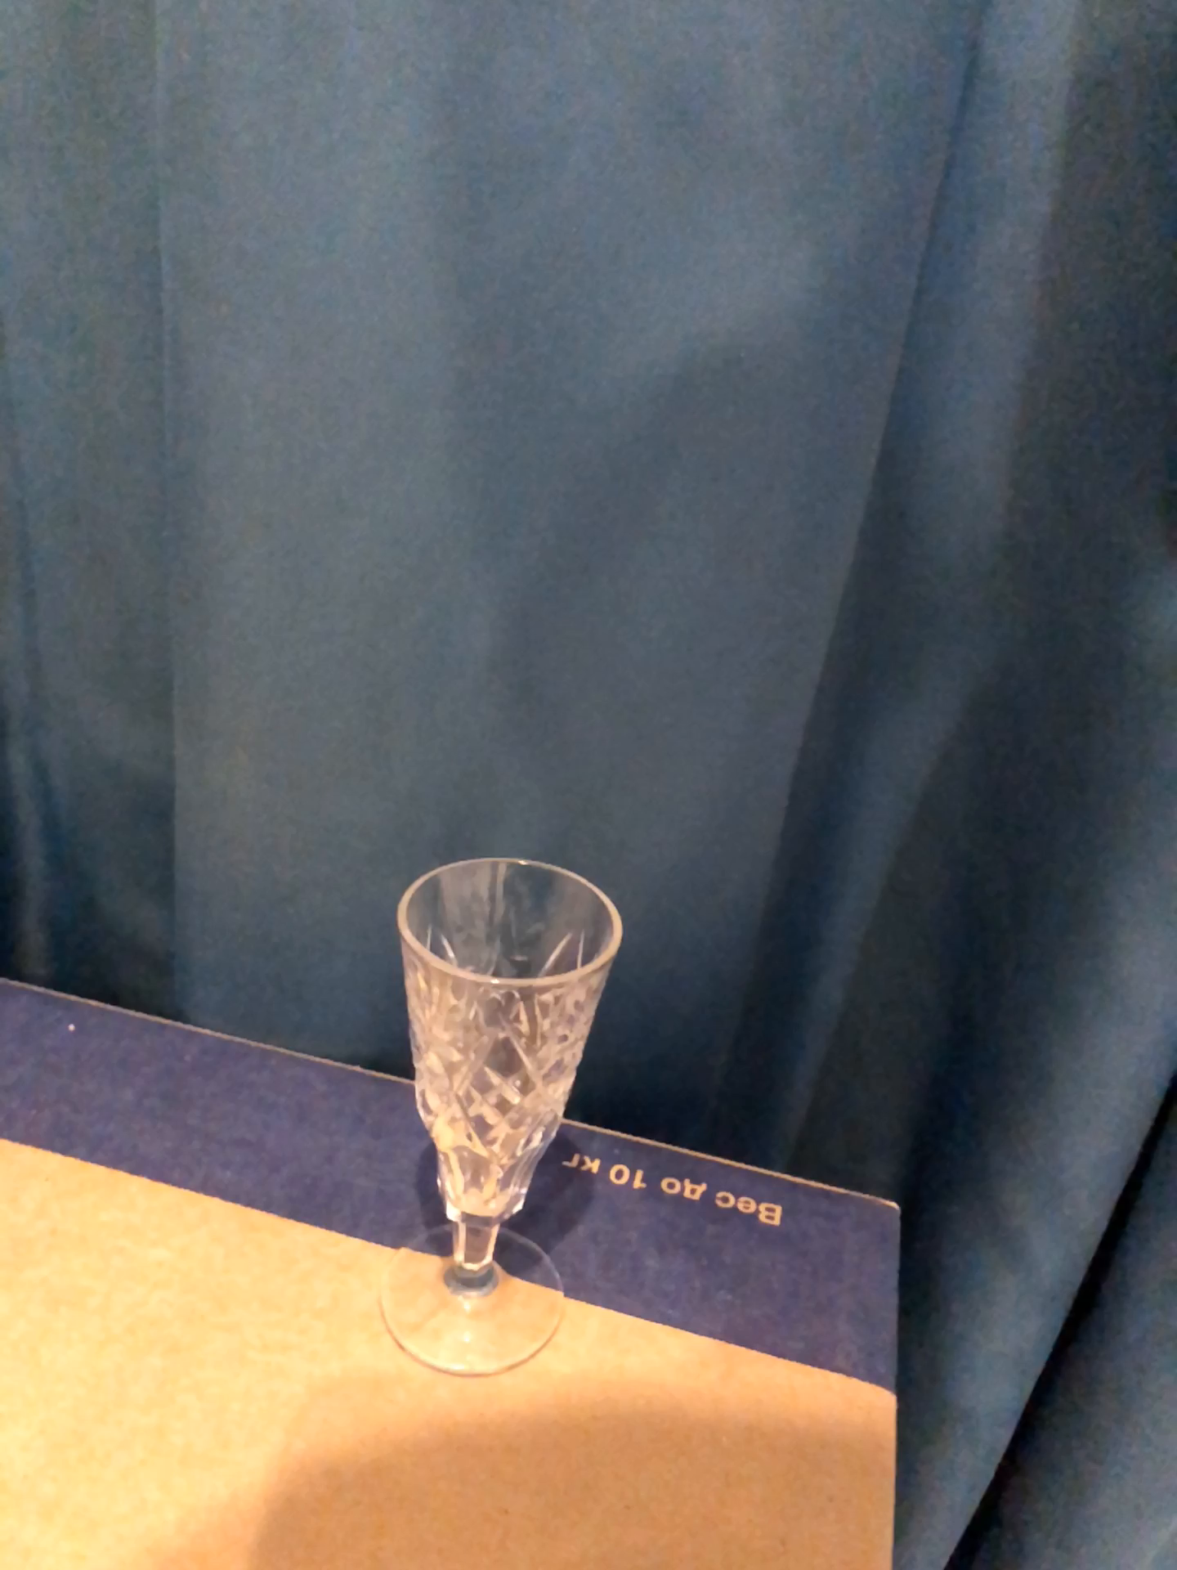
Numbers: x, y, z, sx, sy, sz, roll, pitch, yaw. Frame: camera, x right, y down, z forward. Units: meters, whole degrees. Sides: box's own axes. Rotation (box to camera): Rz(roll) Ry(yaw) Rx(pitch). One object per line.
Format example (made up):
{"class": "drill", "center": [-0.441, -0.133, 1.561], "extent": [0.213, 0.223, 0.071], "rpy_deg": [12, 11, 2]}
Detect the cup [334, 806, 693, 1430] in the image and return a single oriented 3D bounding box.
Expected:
{"class": "cup", "center": [-0.020, 0.075, 0.295], "extent": [0.053, 0.118, 0.051], "rpy_deg": [4, 29, -2]}
